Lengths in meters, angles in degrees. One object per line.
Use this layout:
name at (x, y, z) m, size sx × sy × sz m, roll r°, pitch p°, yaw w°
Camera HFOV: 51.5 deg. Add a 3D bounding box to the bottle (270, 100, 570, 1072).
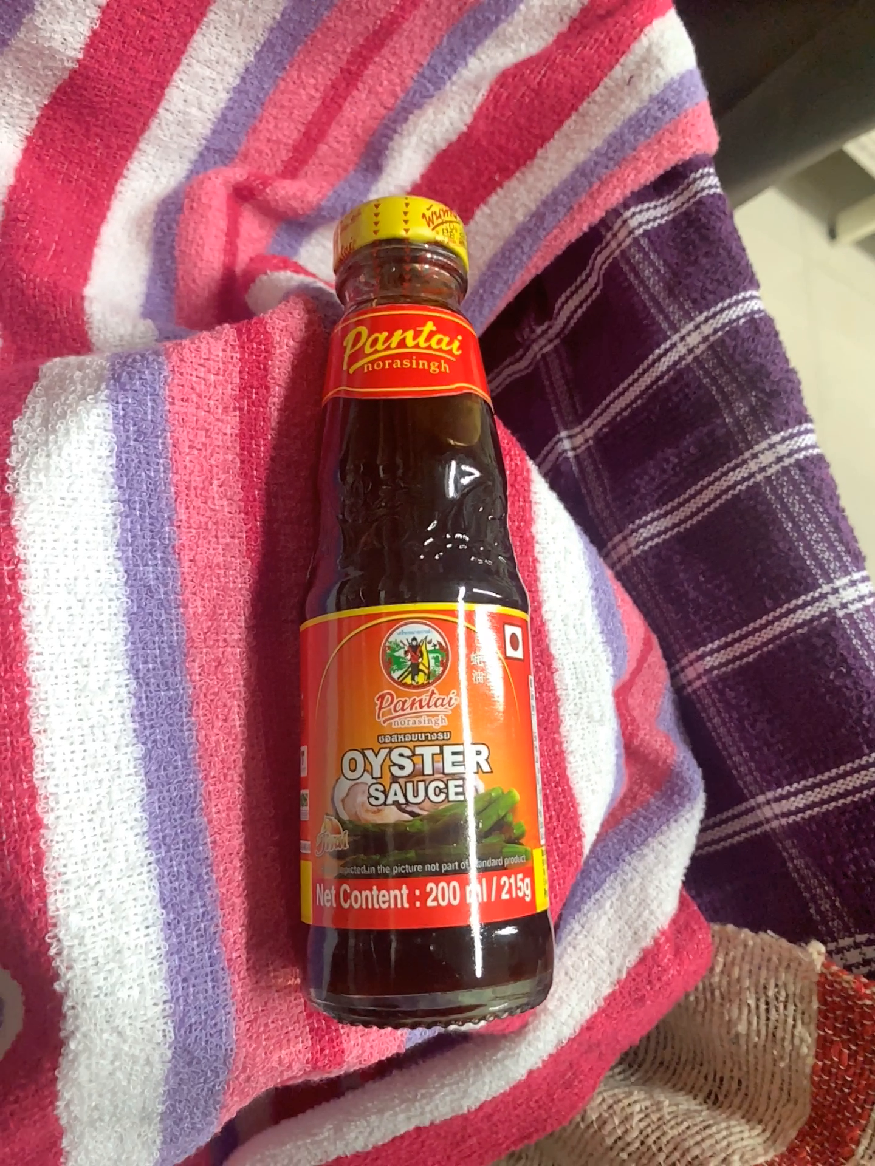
bottle at (-0.008, -0.006, 0.198) m, size 0.050 × 0.050 × 0.190 m, roll -2°, pitch 76°, yaw -2°
